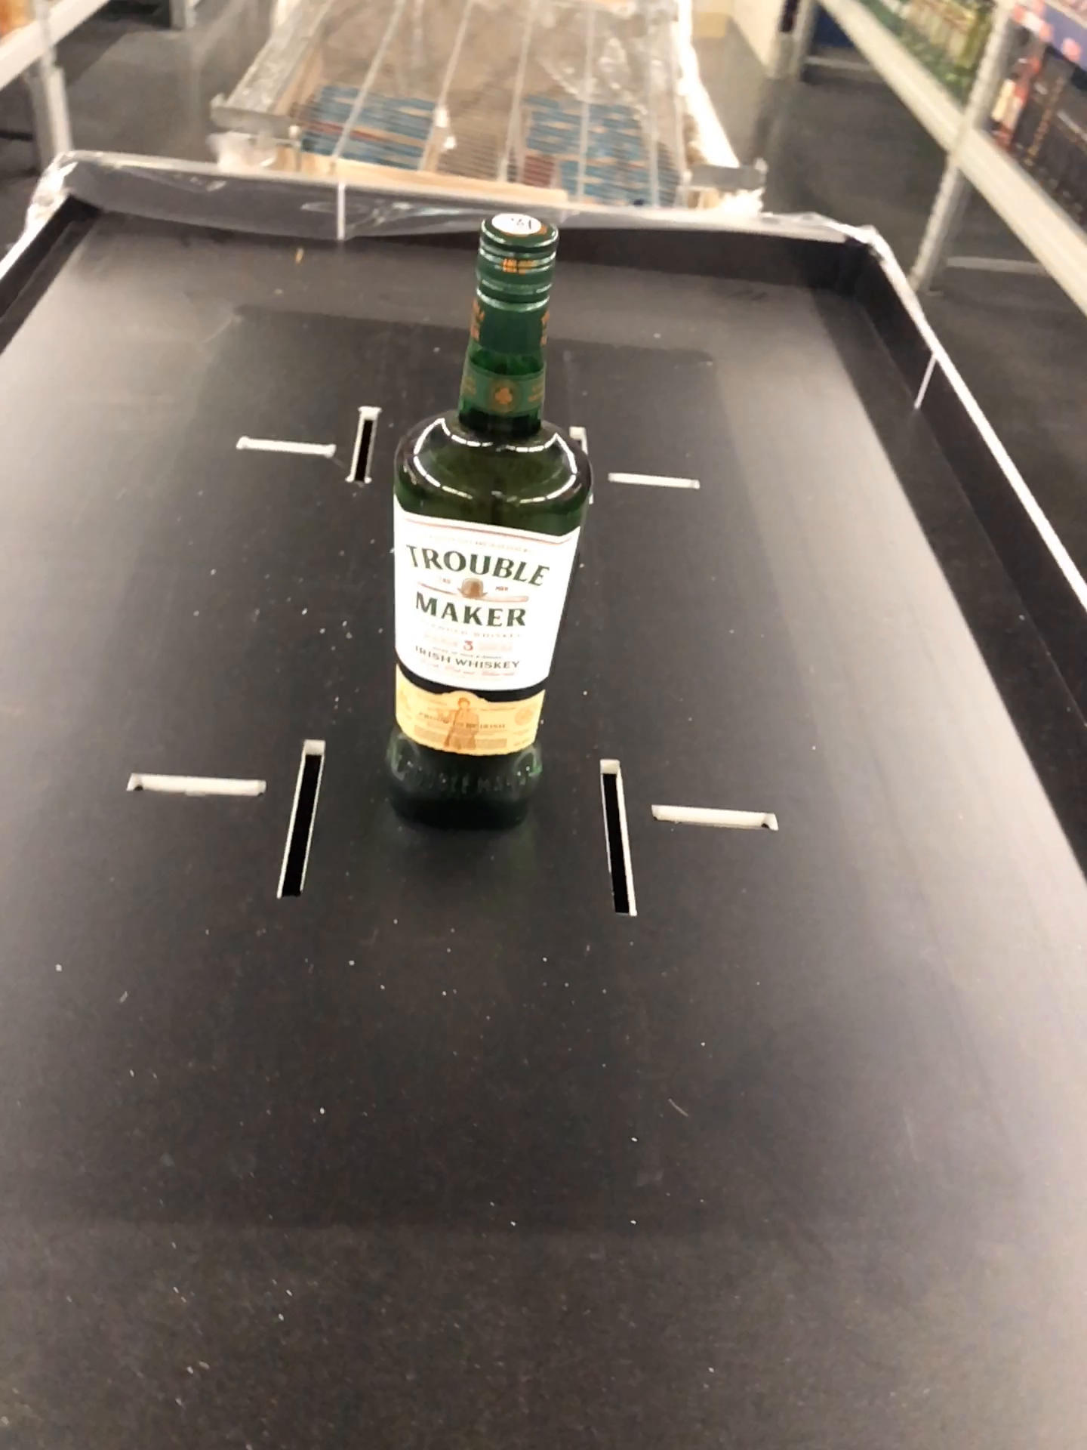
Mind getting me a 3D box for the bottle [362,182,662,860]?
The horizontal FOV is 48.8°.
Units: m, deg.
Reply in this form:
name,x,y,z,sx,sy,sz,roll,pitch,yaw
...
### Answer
name,x,y,z,sx,sy,sz,roll,pitch,yaw
bottle,-0.023,-0.074,0.549,0.100,0.298,0.081,7,41,-2
